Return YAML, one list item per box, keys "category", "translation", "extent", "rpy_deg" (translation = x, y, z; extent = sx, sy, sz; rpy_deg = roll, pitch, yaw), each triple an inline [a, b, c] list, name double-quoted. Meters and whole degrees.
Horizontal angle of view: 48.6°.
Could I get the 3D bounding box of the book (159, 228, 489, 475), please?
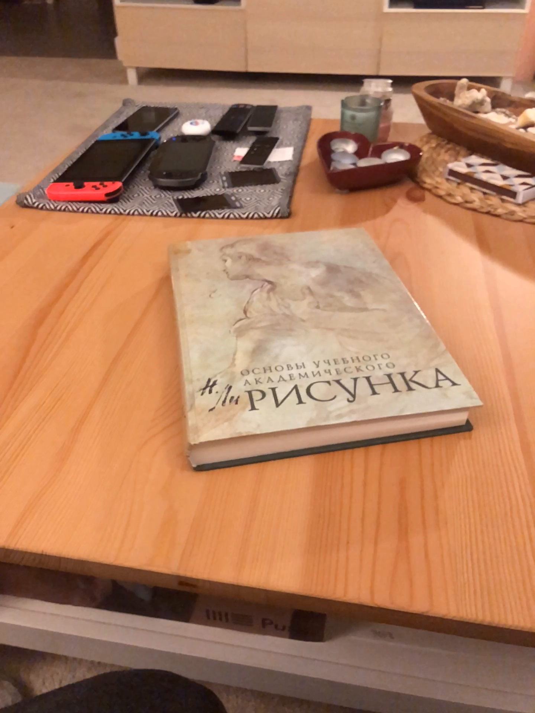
- category: "book"
  translation: [0.023, -0.028, 0.510]
  extent: [0.214, 0.030, 0.273]
  rpy_deg: [-6, 39, -9]
